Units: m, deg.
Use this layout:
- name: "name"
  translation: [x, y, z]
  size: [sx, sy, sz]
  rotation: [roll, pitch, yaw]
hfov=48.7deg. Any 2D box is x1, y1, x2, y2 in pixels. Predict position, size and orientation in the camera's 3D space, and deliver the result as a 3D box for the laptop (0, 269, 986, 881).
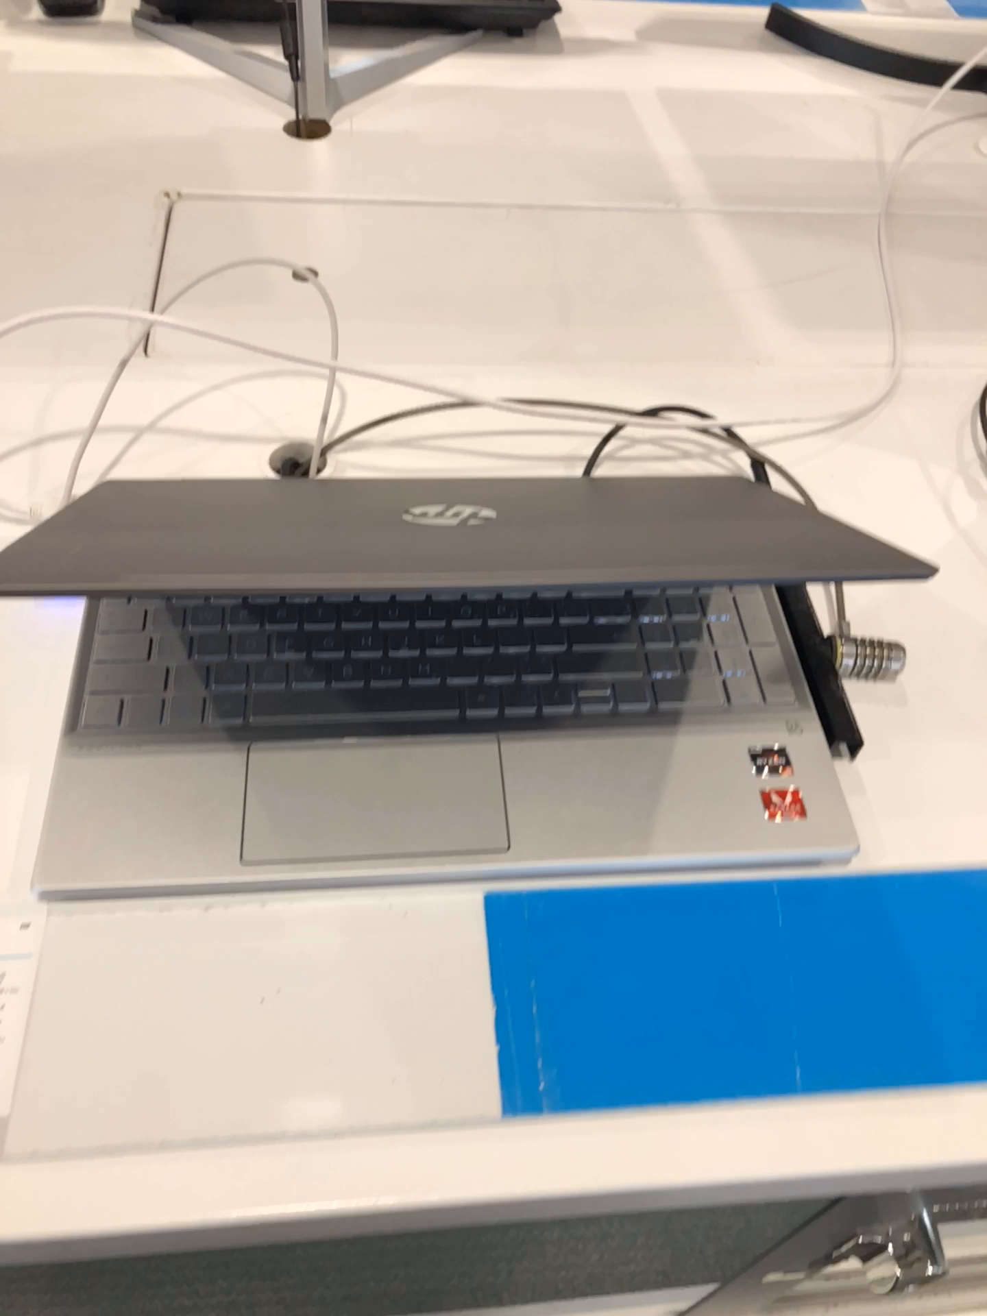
- name: "laptop"
  translation: [-0.015, -0.045, 0.482]
  size: [0.350, 0.134, 0.231]
  rotation: [-1, 52, -6]
